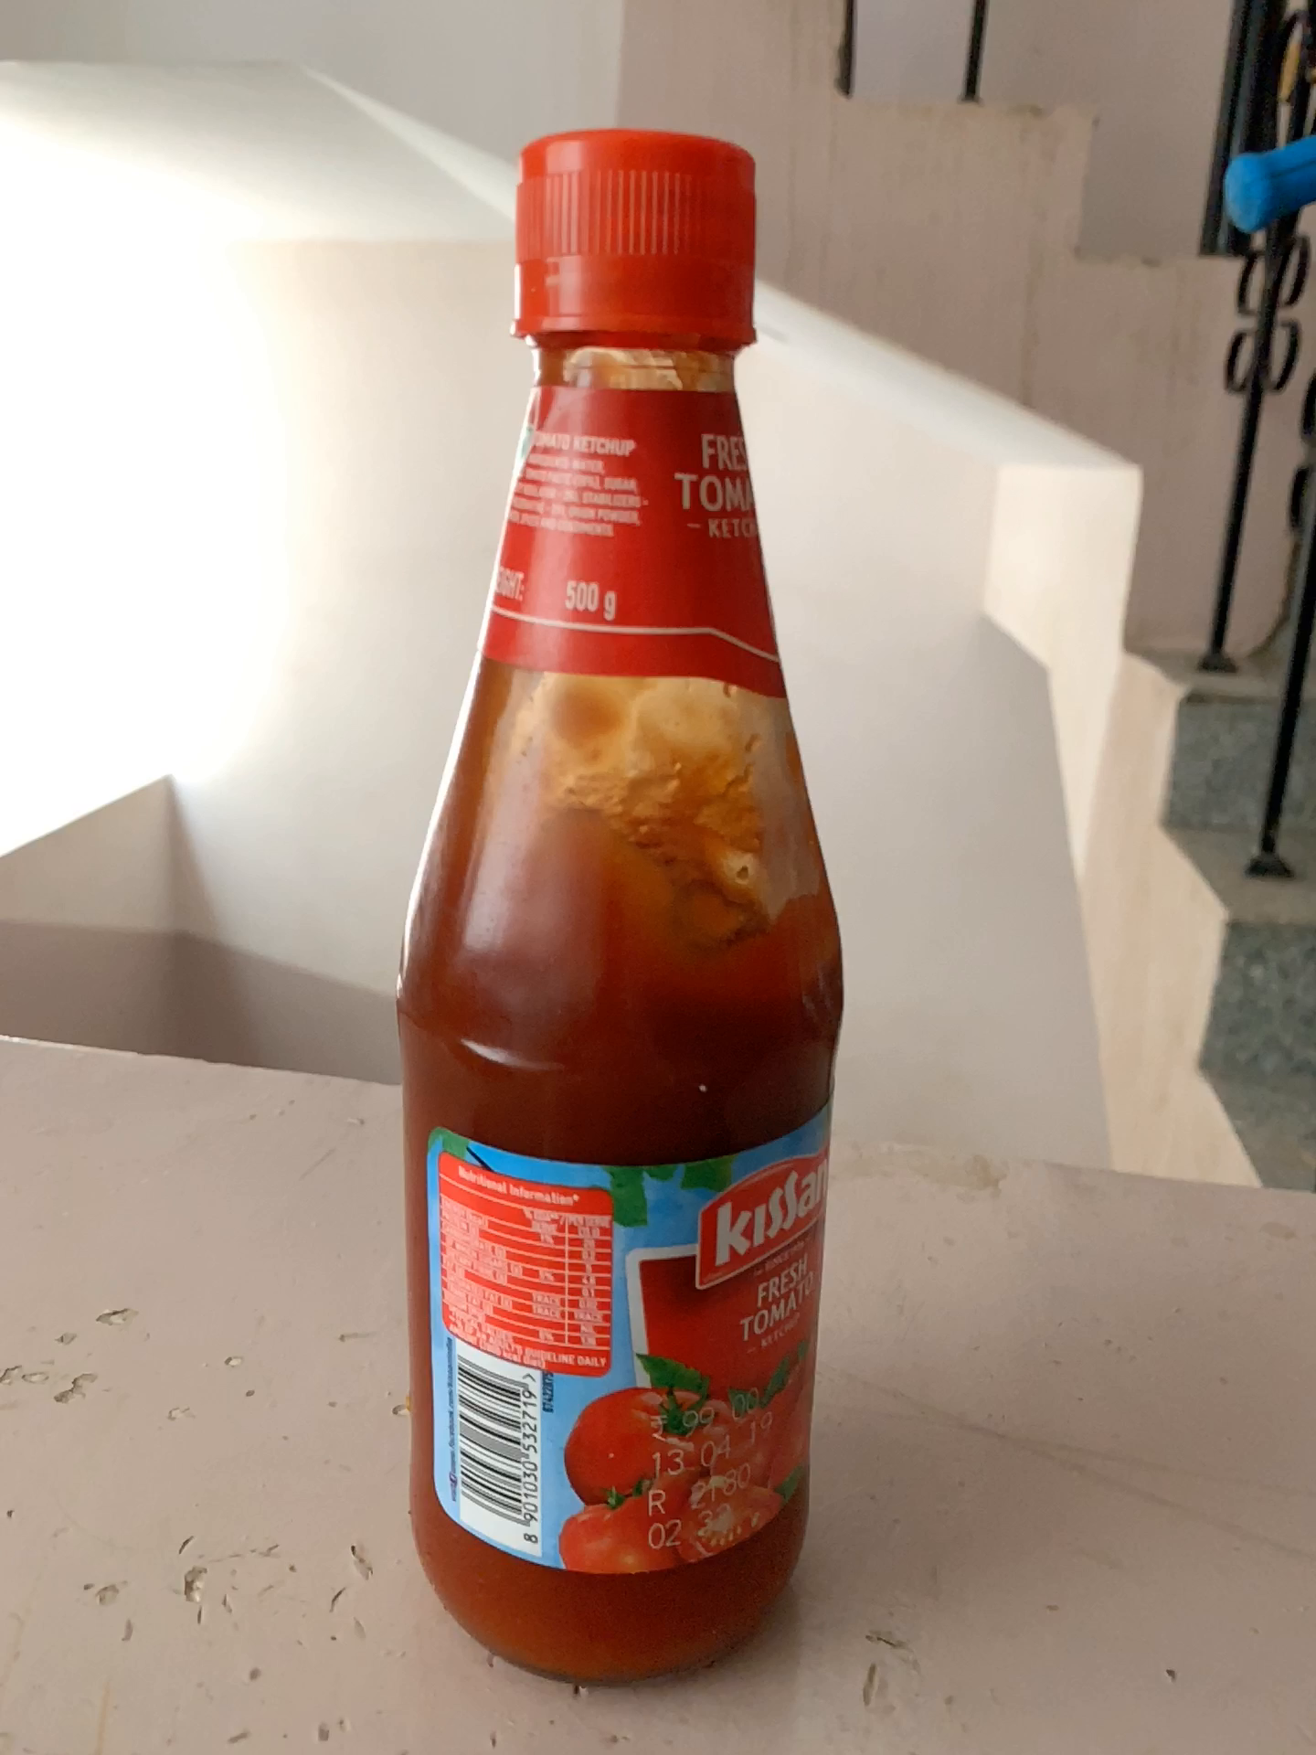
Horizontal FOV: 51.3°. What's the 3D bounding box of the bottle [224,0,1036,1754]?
[{"bbox_3d":[-0.006,0.008,0.197,0.070,0.219,0.070,2,16,-1],"label":"bottle"}]
